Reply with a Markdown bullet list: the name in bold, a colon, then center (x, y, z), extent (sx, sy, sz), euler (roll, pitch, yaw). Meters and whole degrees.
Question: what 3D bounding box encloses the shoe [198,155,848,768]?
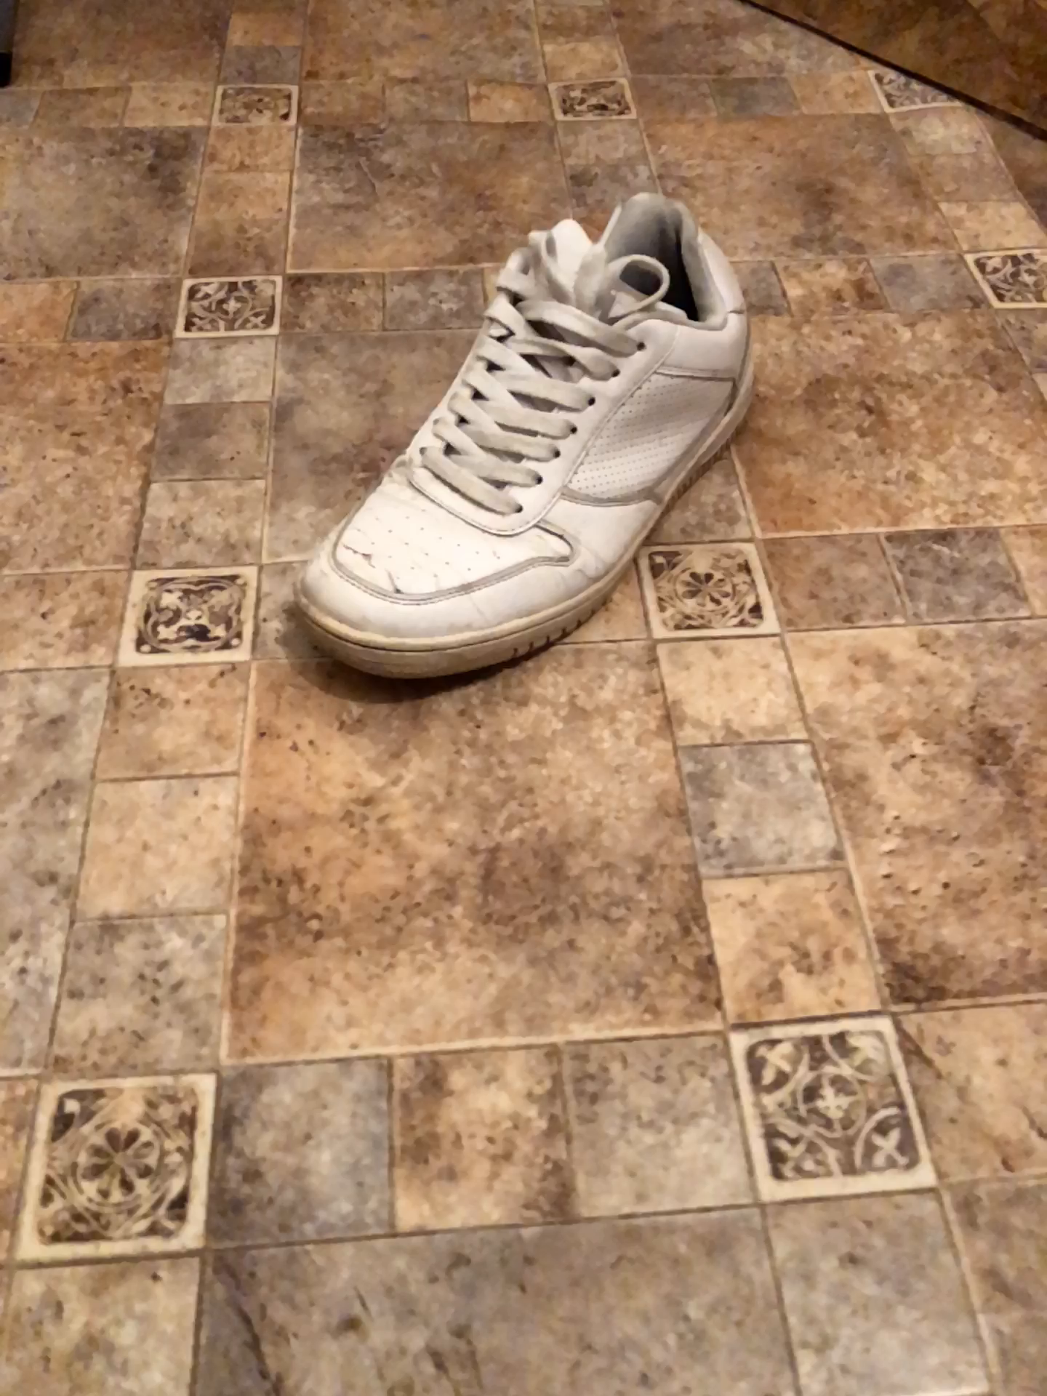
- **shoe**: center (0.012, -0.121, 0.524), extent (0.122, 0.109, 0.281), euler (33, 59, 22)
